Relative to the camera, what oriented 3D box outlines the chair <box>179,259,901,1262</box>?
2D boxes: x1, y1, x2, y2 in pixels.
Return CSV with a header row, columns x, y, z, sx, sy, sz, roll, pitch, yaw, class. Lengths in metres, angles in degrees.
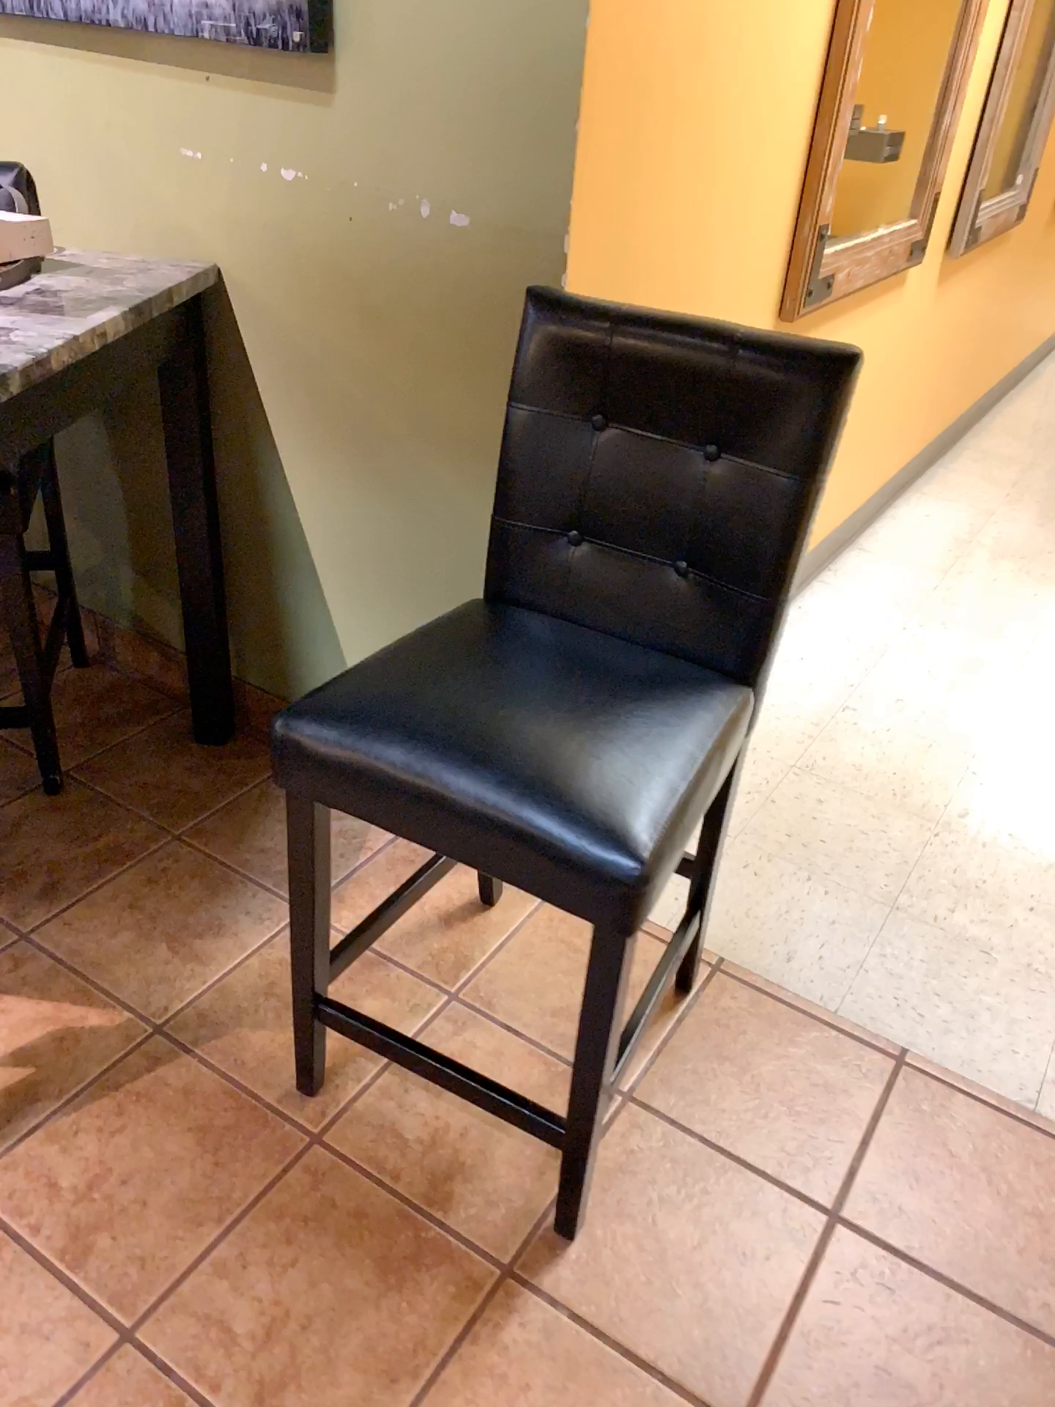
x,y,z,sx,sy,sz,roll,pitch,yaw,class
0.027,0.037,1.335,0.499,0.961,0.621,19,35,22,chair
